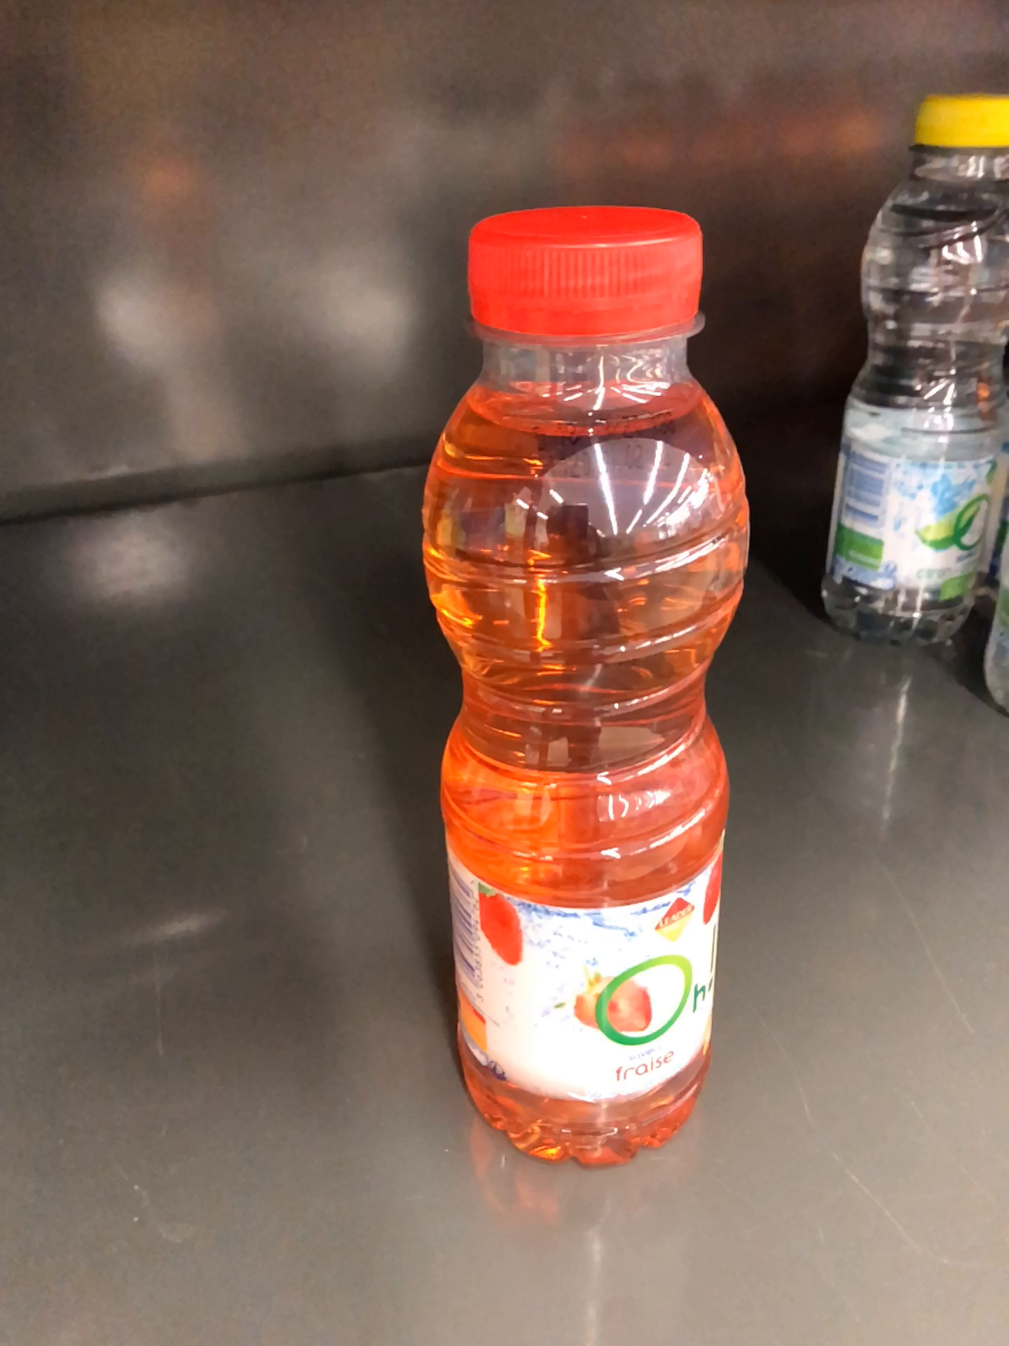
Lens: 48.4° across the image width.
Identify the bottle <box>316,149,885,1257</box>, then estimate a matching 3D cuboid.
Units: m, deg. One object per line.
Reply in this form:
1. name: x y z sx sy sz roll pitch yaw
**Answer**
1. bottle: 0.015 0.013 0.227 0.070 0.209 0.060 -13 30 -18
